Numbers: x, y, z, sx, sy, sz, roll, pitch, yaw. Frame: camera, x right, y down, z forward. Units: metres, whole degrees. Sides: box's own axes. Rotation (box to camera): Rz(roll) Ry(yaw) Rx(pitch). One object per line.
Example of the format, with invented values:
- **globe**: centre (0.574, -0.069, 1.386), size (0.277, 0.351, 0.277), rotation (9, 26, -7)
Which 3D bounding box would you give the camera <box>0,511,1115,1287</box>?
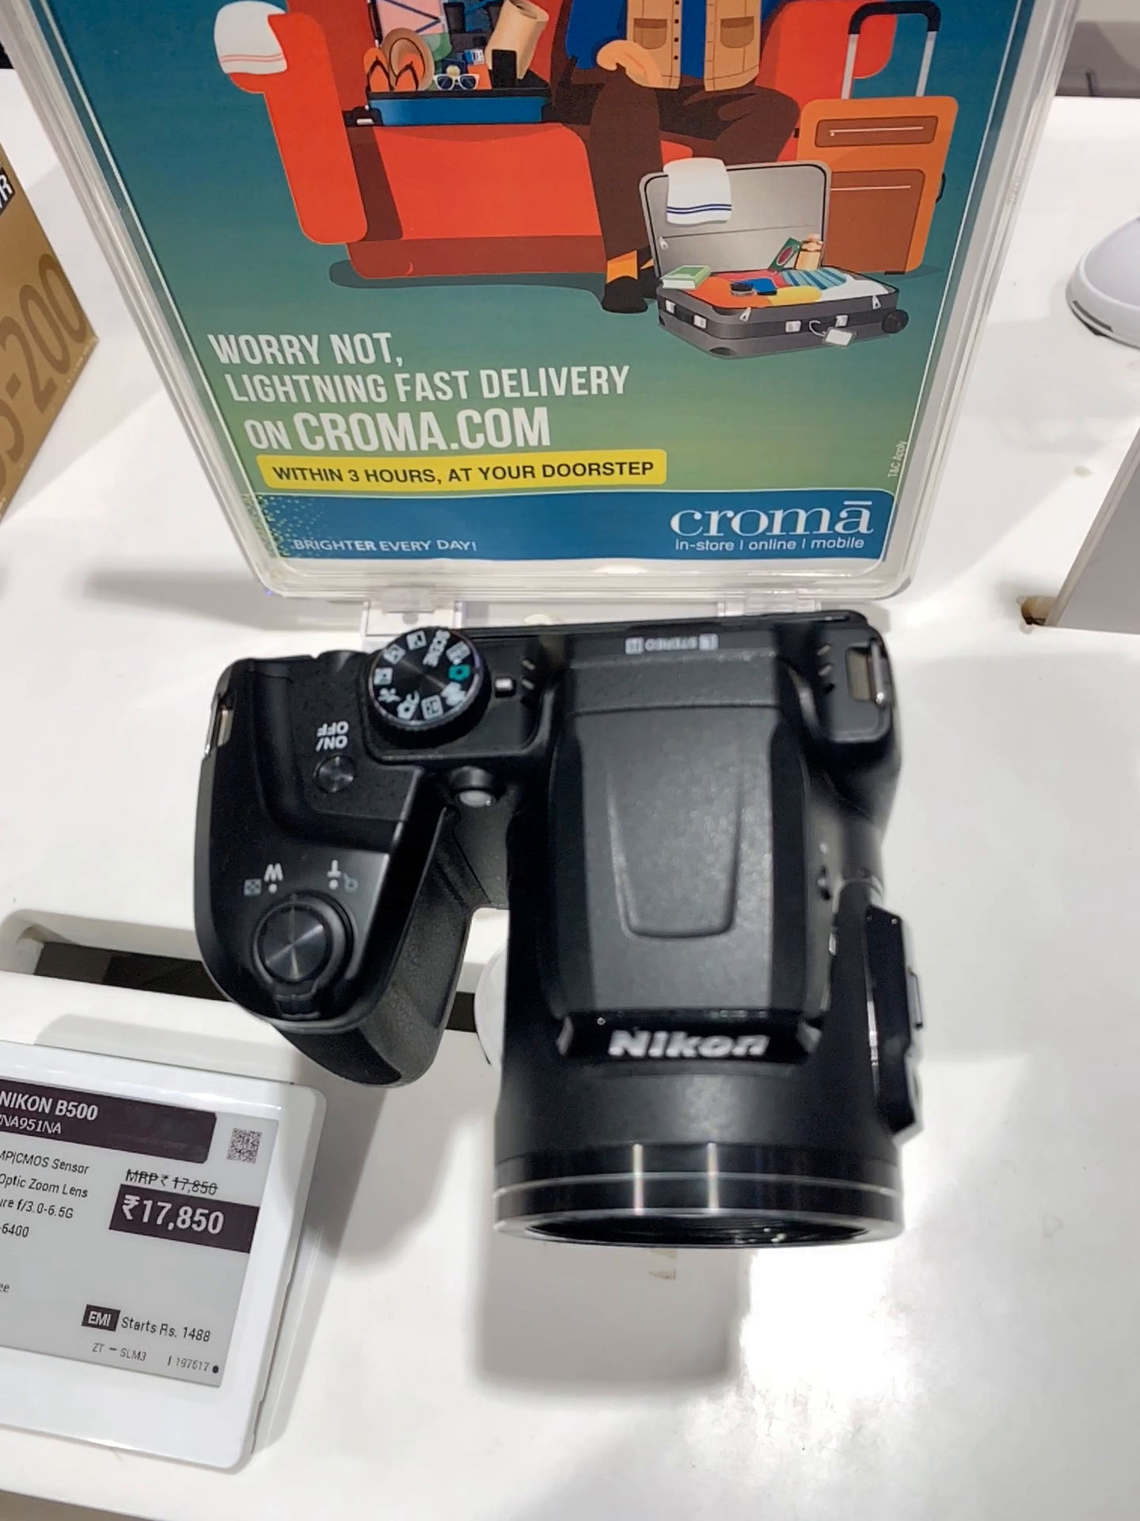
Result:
- **camera**: centre (-0.002, 0.026, 0.181), size (0.120, 0.080, 0.090), rotation (-2, 60, 3)
